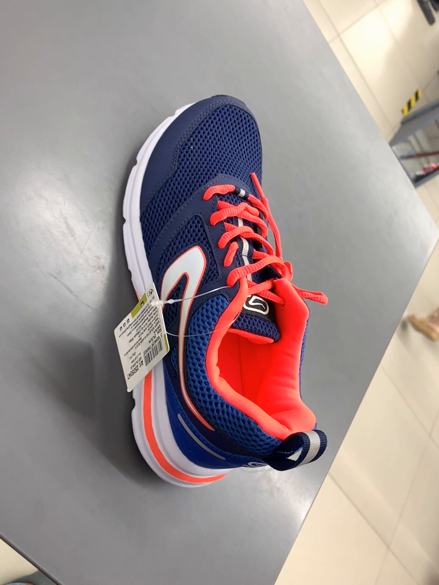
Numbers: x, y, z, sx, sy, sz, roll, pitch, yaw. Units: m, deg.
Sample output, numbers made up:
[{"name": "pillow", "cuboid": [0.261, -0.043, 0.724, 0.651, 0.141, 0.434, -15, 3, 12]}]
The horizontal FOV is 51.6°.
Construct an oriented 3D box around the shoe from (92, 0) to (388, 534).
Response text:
[{"name": "shoe", "cuboid": [0.005, -0.025, 0.300, 0.110, 0.139, 0.290, 10, 74, -35]}]
